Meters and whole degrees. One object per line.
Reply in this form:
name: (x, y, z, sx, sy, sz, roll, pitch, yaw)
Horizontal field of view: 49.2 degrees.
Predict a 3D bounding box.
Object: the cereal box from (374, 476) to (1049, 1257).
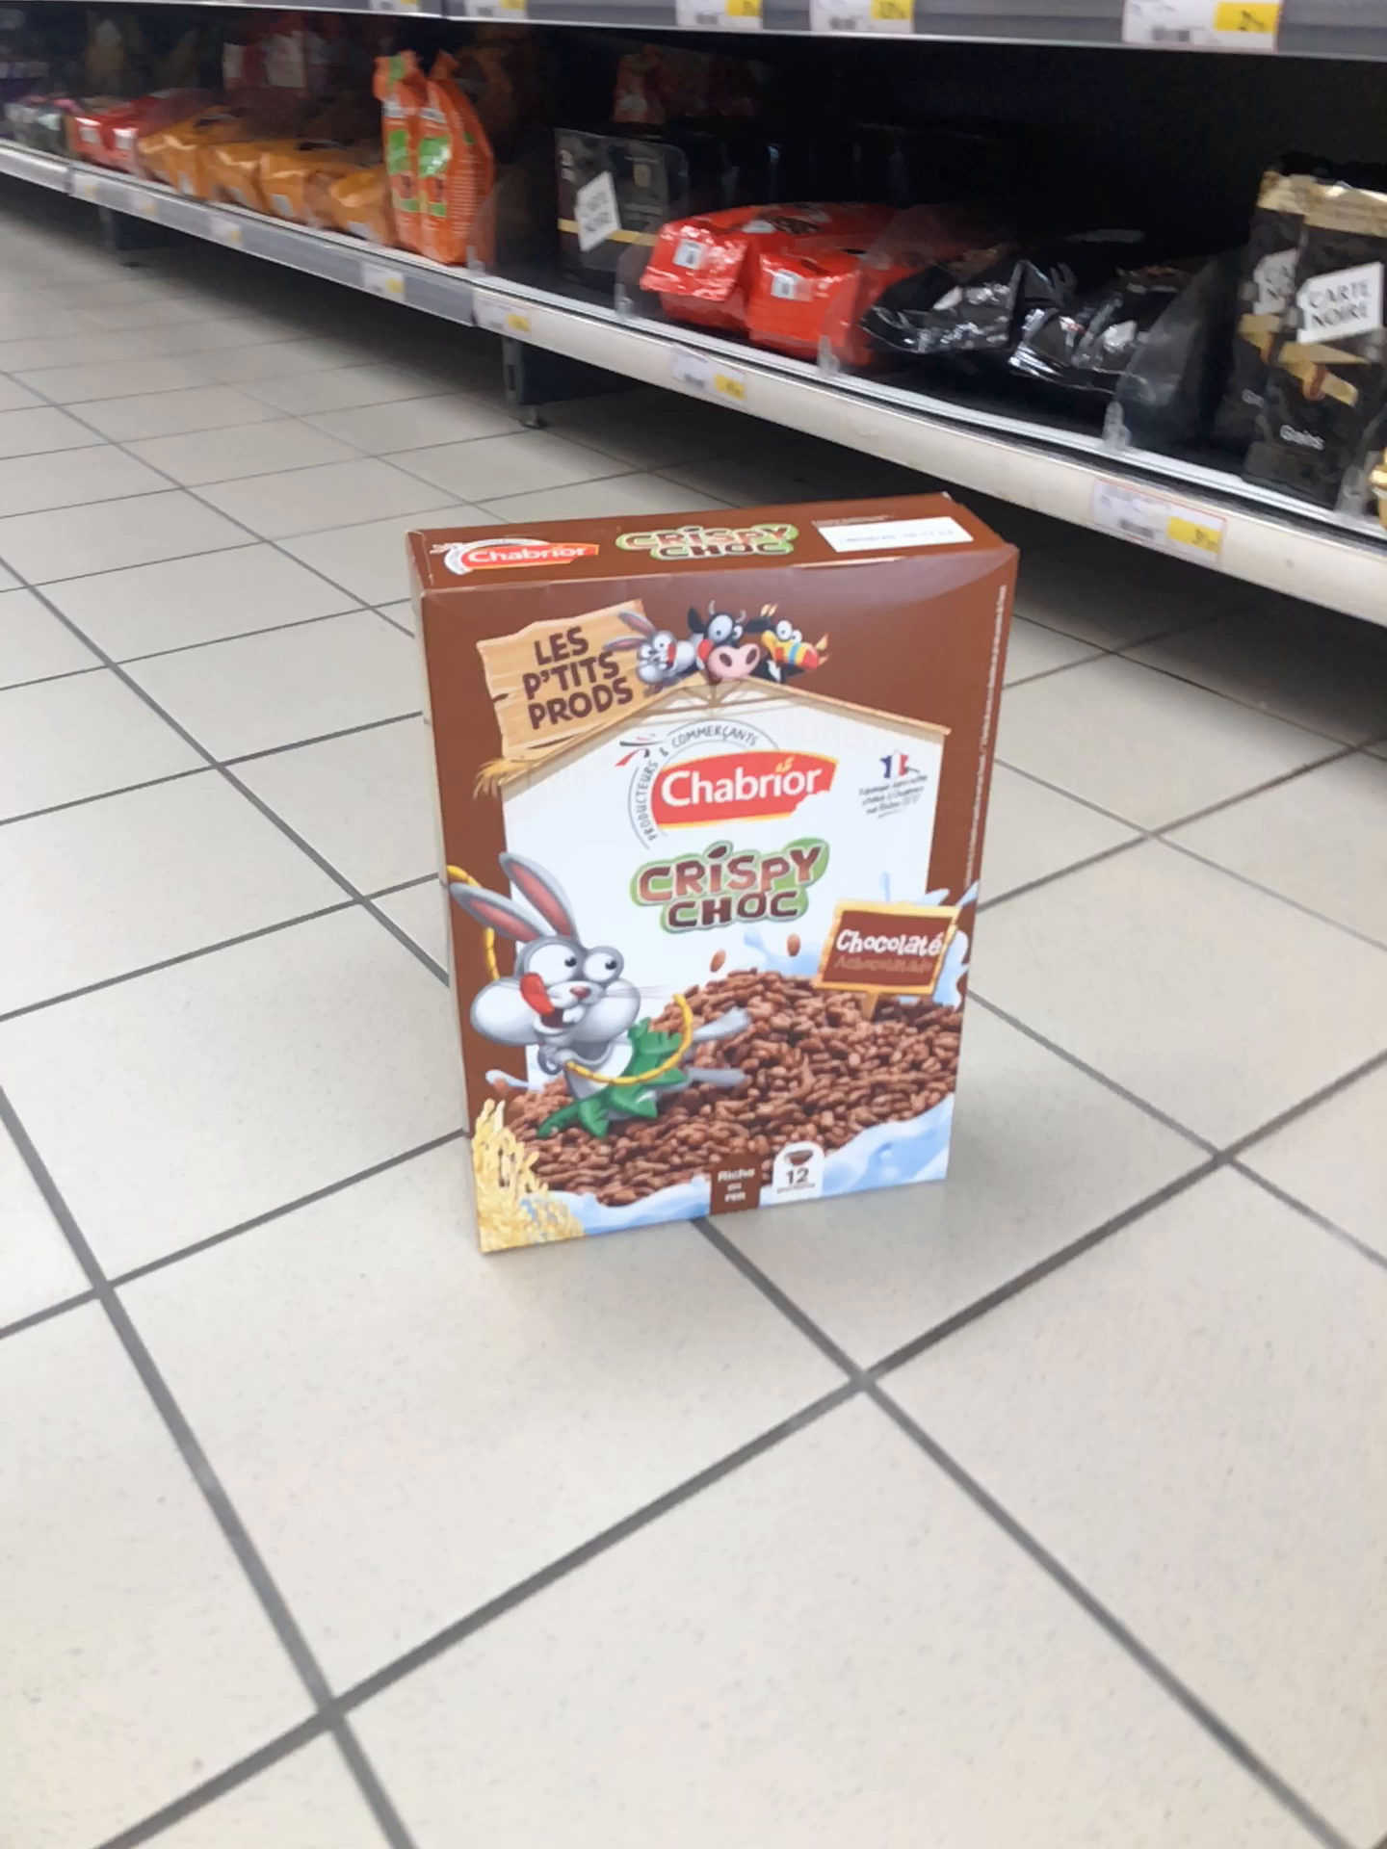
cereal box: (0.003, -0.017, 0.562, 0.210, 0.268, 0.070, -6, 31, -11)
